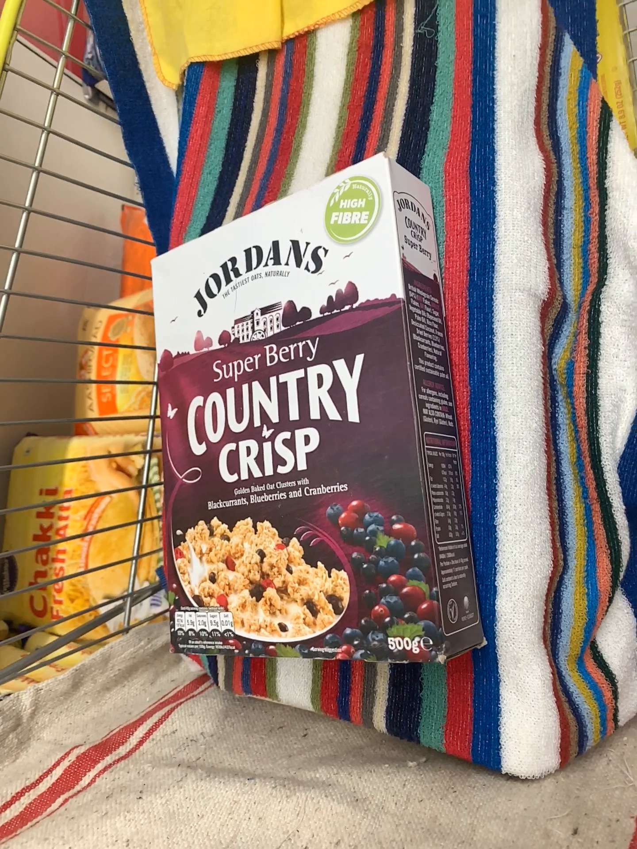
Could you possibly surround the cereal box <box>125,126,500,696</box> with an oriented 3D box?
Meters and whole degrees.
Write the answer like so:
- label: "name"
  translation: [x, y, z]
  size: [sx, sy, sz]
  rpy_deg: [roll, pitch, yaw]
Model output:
- label: "cereal box"
  translation: [-0.018, 0.004, 0.346]
  size: [0.181, 0.060, 0.240]
  rpy_deg: [-12, 77, 36]
